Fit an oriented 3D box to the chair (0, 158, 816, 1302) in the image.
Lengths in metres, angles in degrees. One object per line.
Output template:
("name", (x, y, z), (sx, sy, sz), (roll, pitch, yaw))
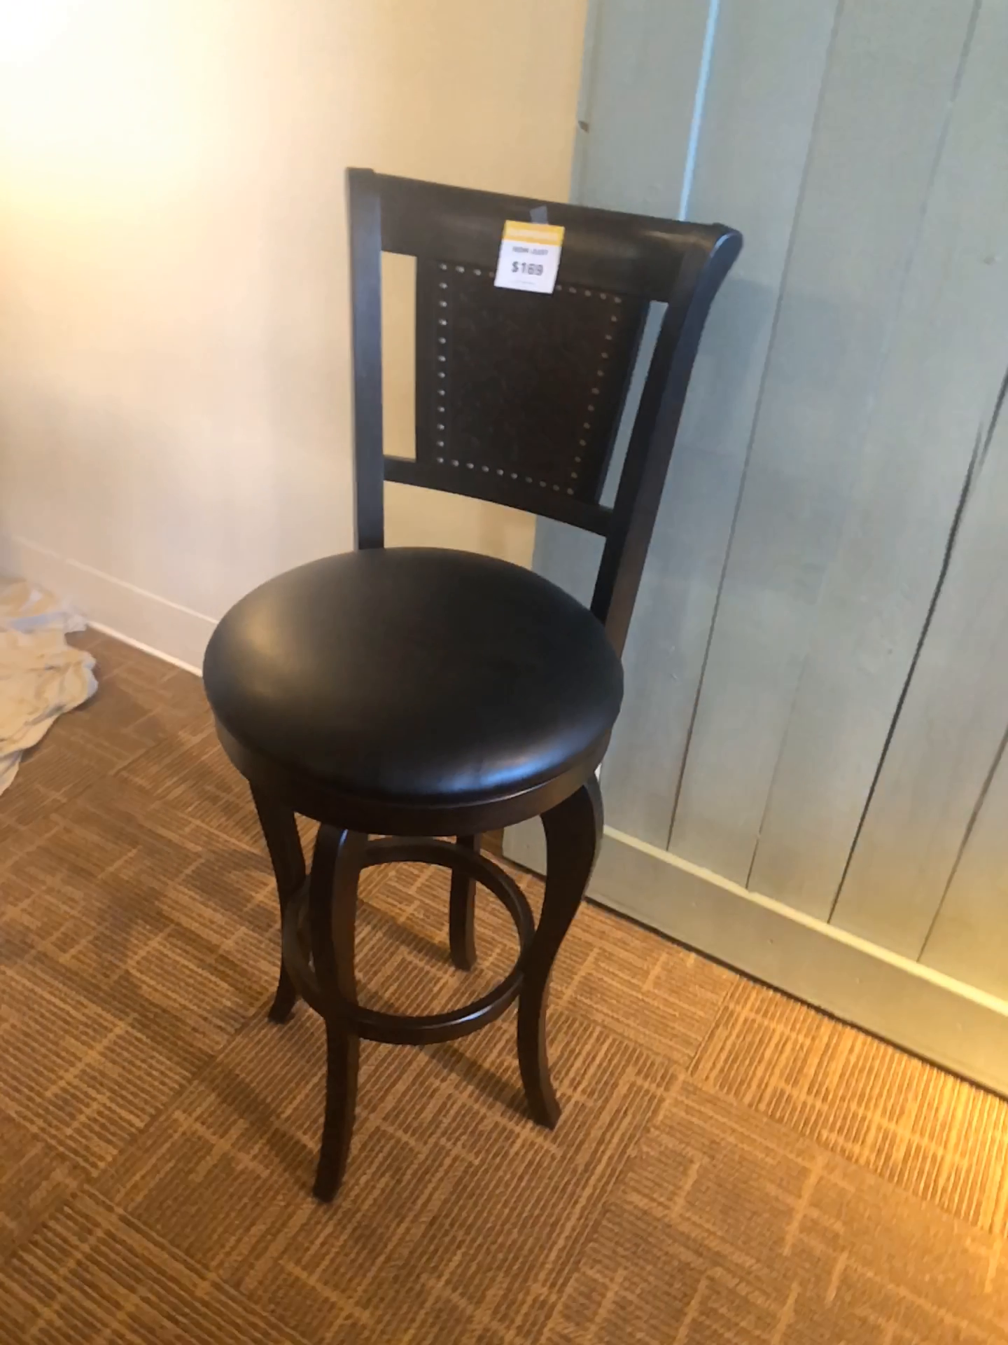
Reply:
("chair", (-0.091, 0.064, 1.374), (0.561, 1.150, 0.613), (18, 35, 19))
